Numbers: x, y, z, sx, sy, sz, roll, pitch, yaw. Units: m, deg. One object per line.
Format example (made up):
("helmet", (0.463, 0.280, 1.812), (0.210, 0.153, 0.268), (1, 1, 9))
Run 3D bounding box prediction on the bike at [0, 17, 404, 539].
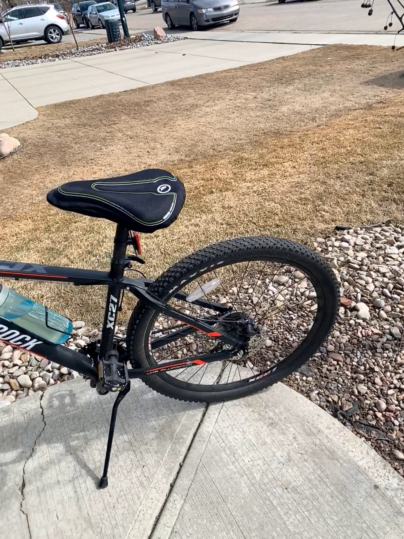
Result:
("bike", (-0.339, 0.205, 0.940), (1.479, 1.004, 0.603), (-20, 35, -9))
